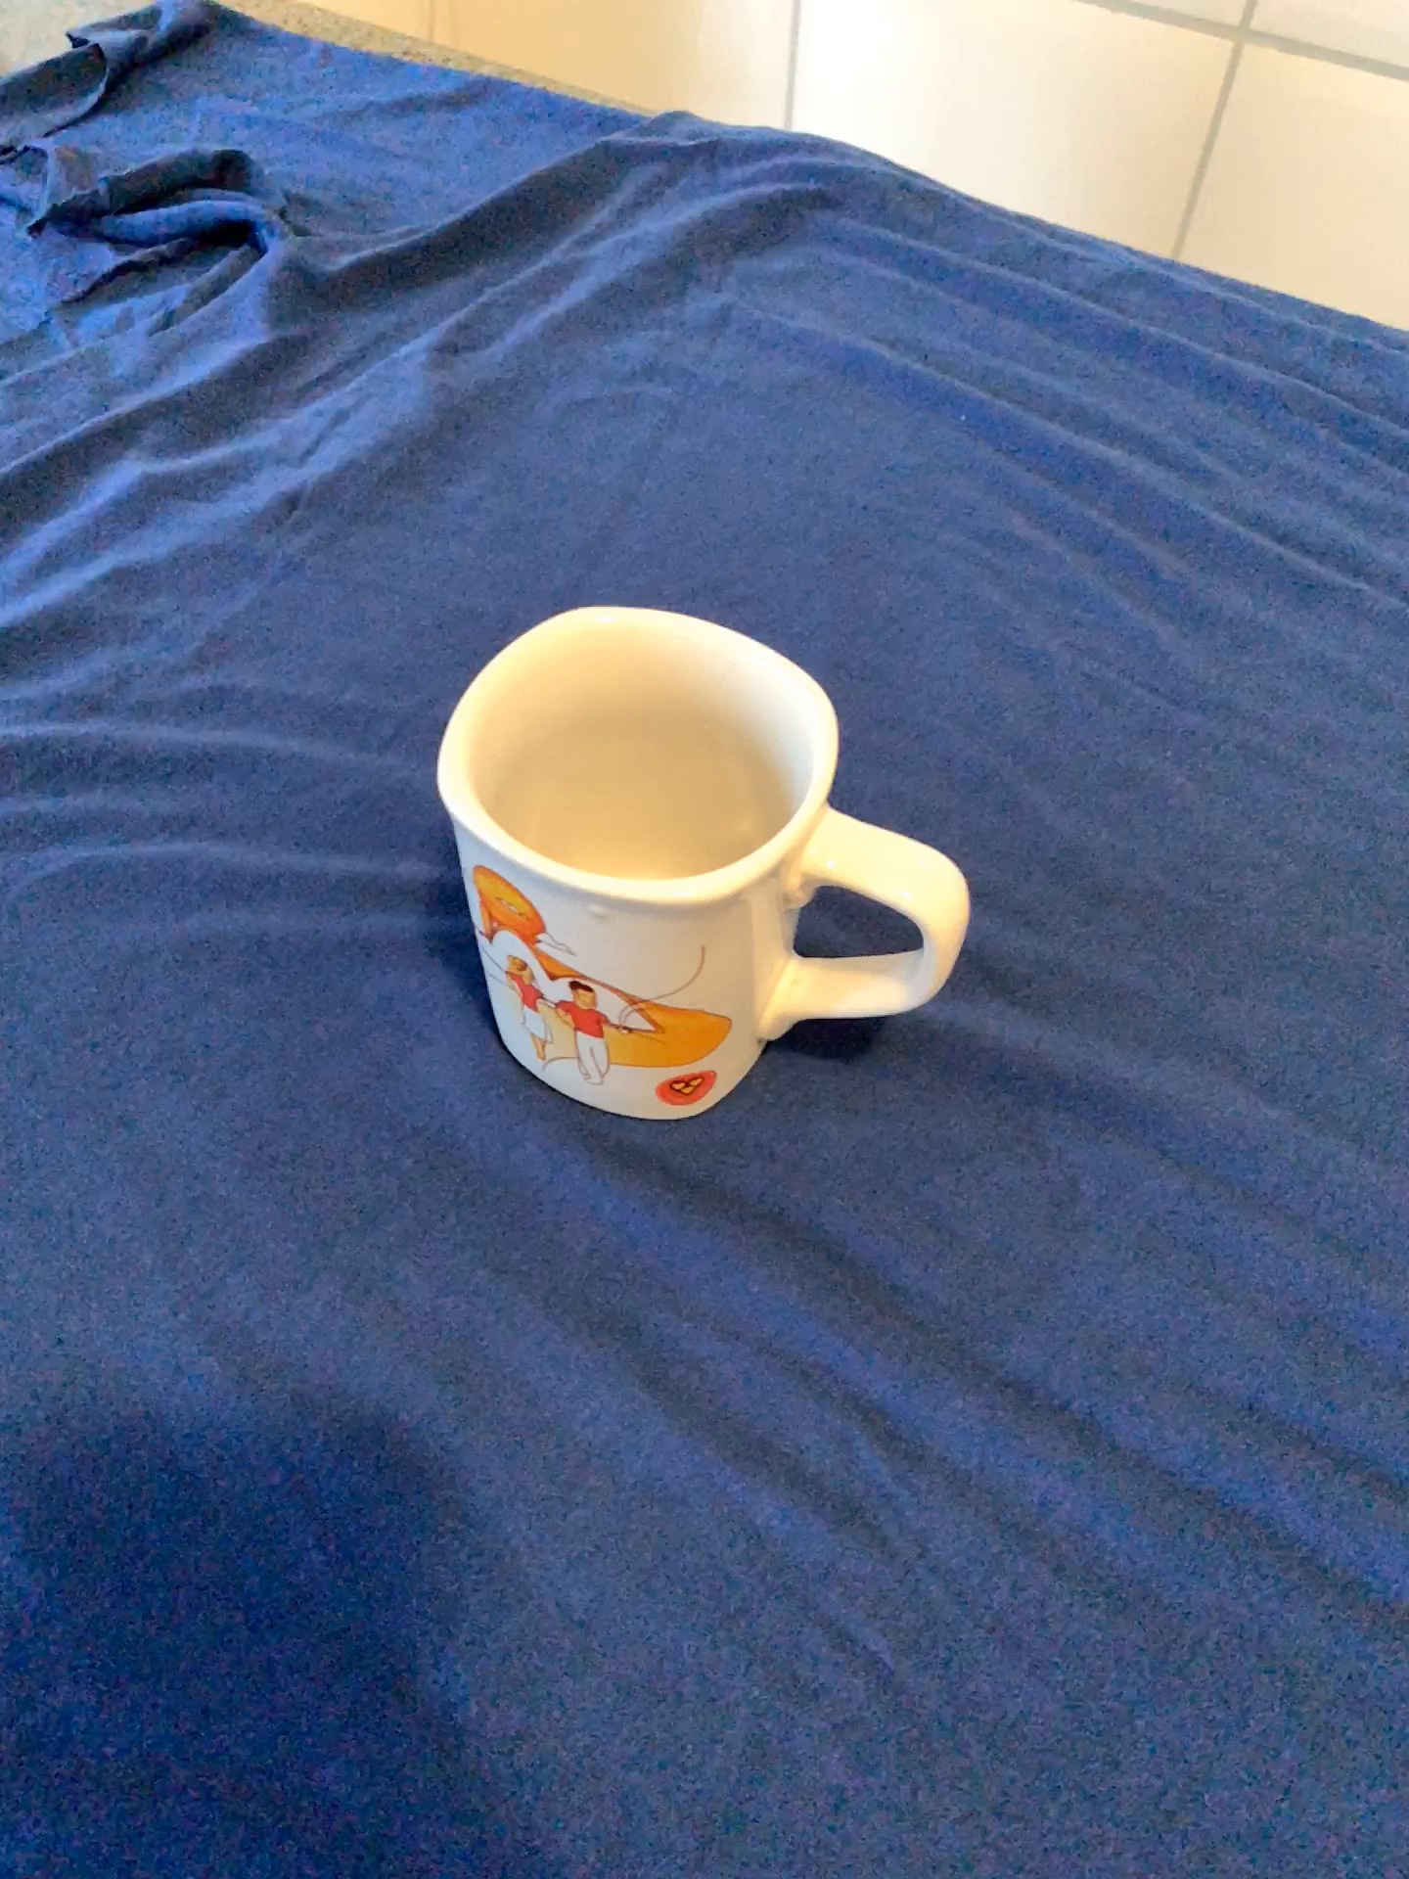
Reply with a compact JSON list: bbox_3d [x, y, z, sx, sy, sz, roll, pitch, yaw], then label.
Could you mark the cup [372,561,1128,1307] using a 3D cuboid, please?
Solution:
[{"bbox_3d":[0.007,-0.001,0.283,0.110,0.090,0.070,23,53,14],"label":"cup"}]
